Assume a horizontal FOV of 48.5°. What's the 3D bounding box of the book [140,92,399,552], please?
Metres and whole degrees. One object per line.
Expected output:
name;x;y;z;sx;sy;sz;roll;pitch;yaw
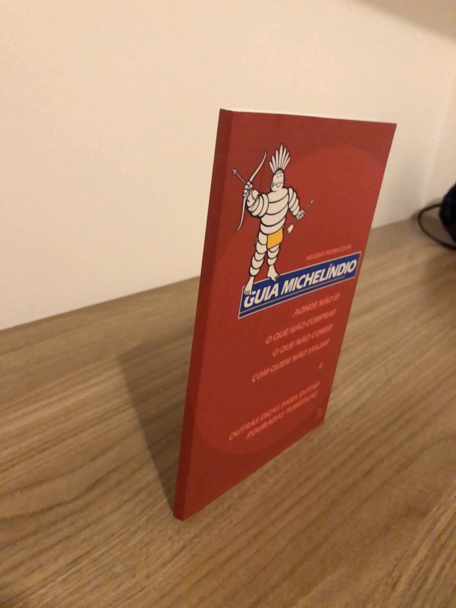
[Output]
book;0.024;0.008;0.278;0.020;0.218;0.151;26;29;34
